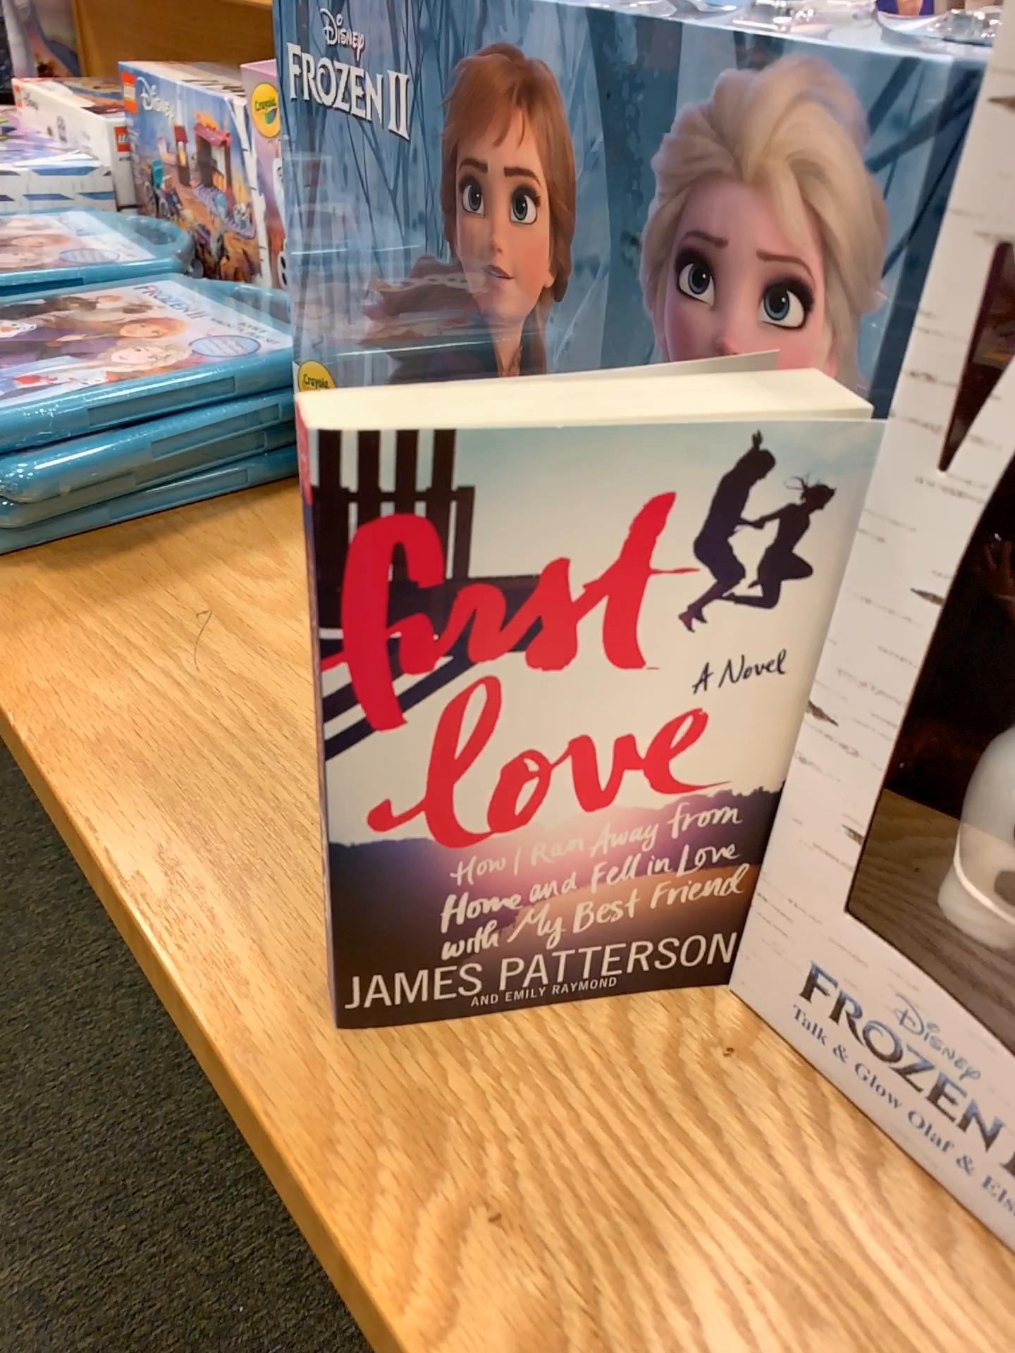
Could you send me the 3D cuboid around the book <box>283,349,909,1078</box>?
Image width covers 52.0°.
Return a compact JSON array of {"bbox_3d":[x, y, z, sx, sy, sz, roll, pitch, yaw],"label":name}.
[{"bbox_3d":[0.014,0.016,0.309,0.142,0.205,0.059,-5,33,-14],"label":"book"}]
